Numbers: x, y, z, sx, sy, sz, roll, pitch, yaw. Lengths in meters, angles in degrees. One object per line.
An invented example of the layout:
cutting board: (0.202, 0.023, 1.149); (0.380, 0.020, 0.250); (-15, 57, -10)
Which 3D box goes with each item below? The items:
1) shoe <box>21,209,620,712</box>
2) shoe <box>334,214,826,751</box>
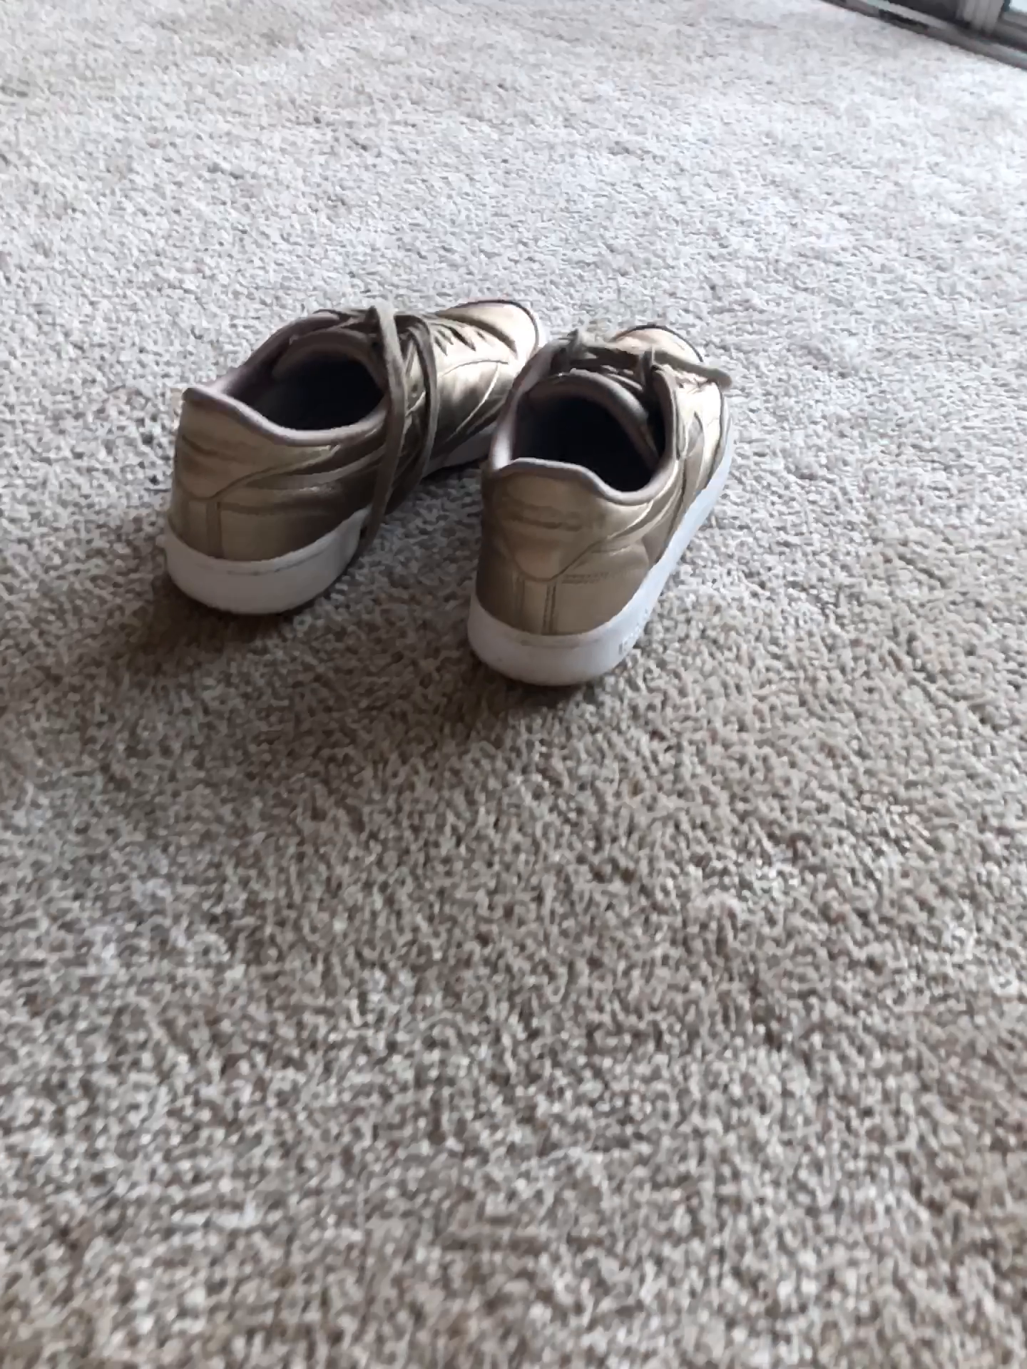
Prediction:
shoe: (-0.065, -0.119, 0.508); (0.110, 0.070, 0.281); (24, 47, 16)
shoe: (0.042, -0.107, 0.489); (0.110, 0.070, 0.281); (20, 46, 13)
